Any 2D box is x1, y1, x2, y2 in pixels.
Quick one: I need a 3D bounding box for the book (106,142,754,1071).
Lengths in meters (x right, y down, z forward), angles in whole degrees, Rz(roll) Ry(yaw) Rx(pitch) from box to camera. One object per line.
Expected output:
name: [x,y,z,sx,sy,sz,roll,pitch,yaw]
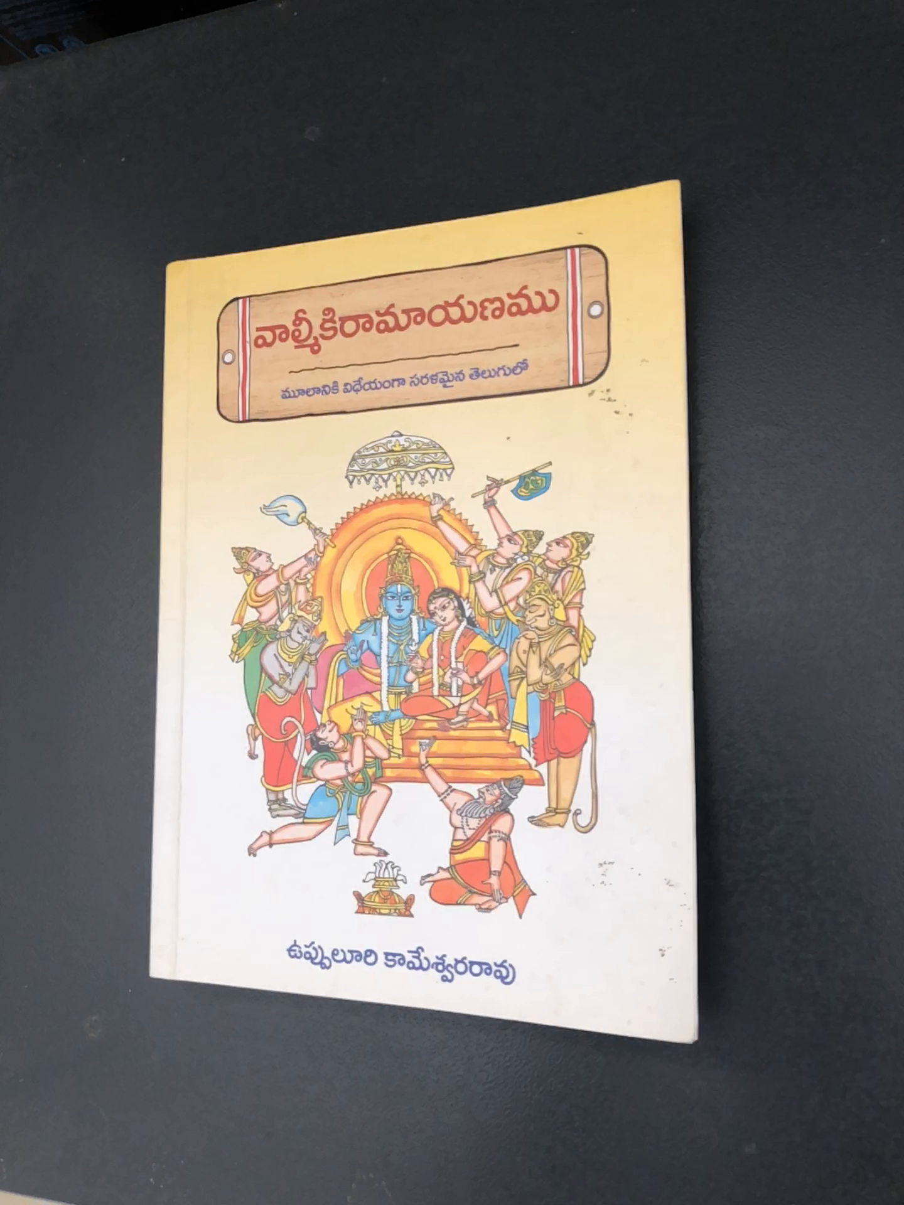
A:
book: [-0.012,-0.002,0.298,0.190,0.020,0.240,-1,85,19]
